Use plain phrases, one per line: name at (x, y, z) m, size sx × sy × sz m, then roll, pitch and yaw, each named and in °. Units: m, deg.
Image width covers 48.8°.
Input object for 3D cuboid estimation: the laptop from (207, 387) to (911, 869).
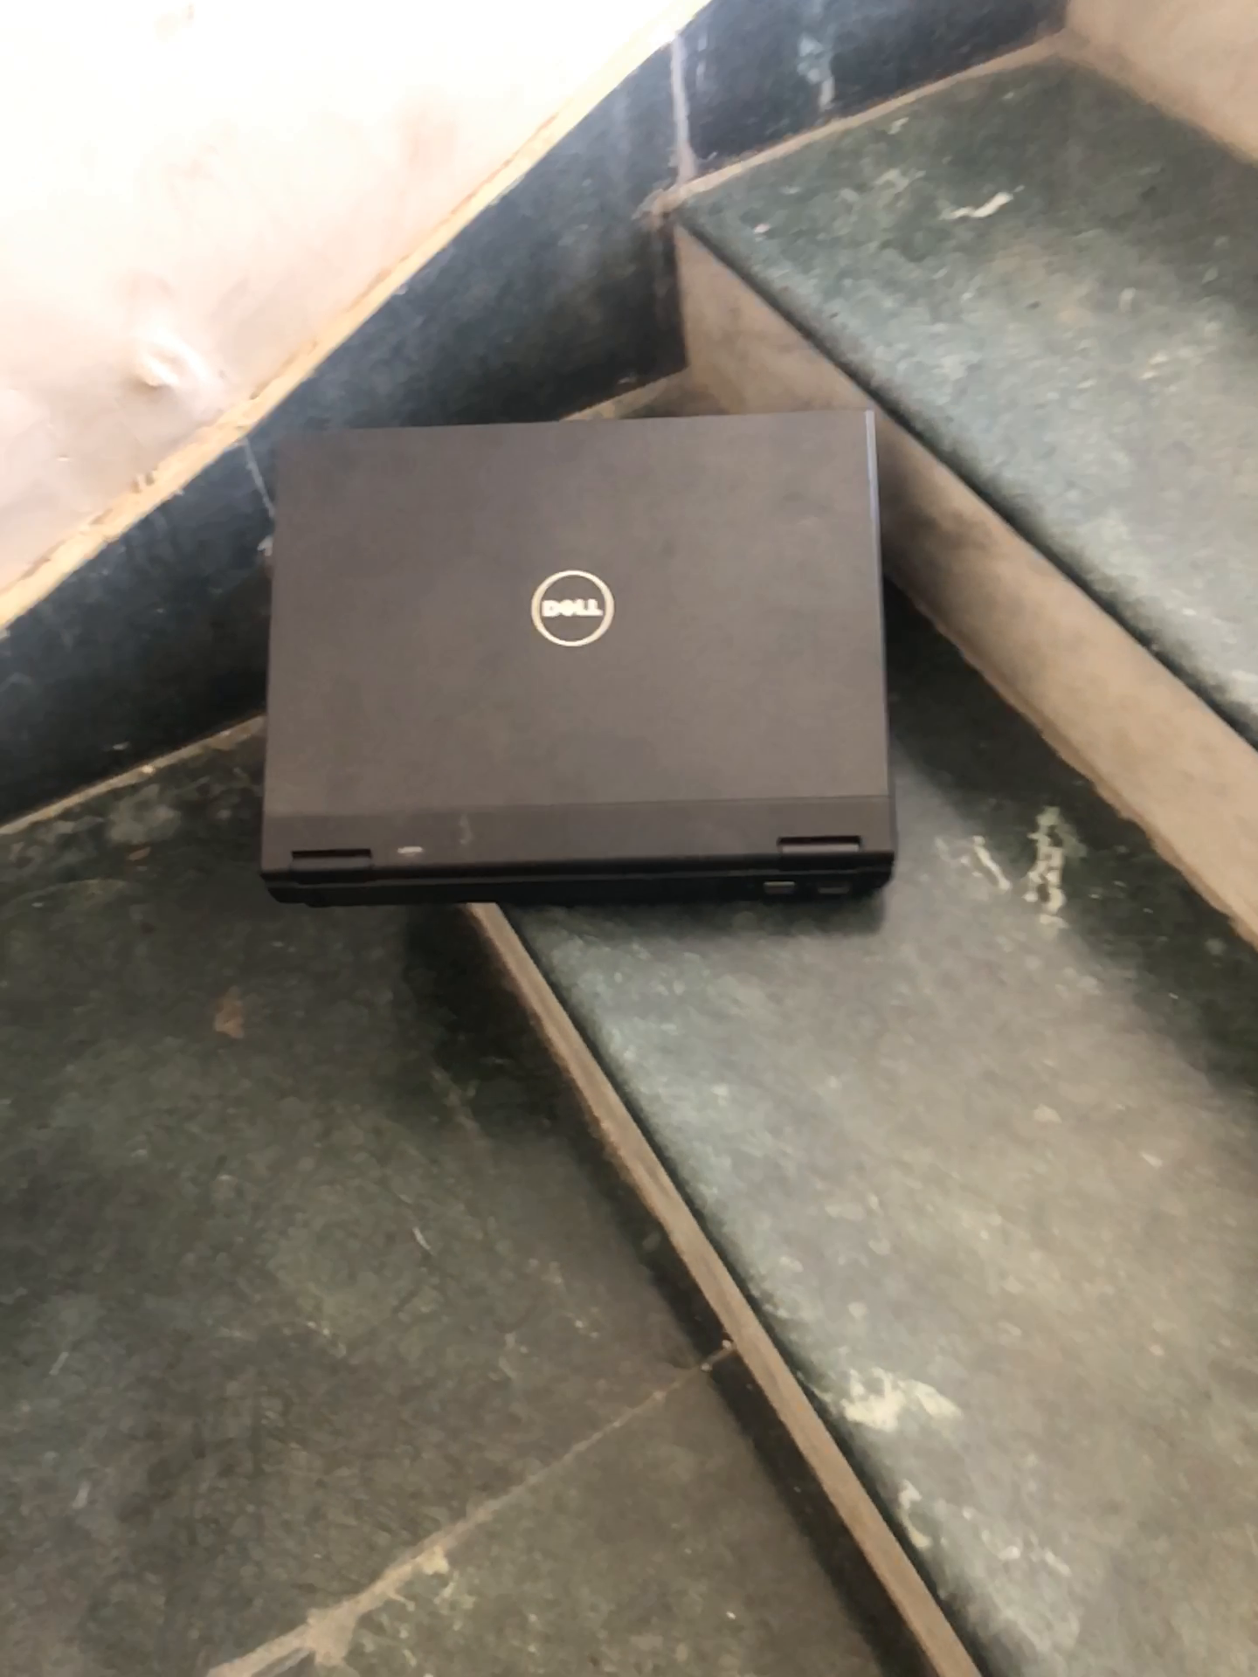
laptop at (-0.031, -0.110, 0.699) m, size 0.302 × 0.095 × 0.233 m, roll -1°, pitch 55°, yaw 2°
